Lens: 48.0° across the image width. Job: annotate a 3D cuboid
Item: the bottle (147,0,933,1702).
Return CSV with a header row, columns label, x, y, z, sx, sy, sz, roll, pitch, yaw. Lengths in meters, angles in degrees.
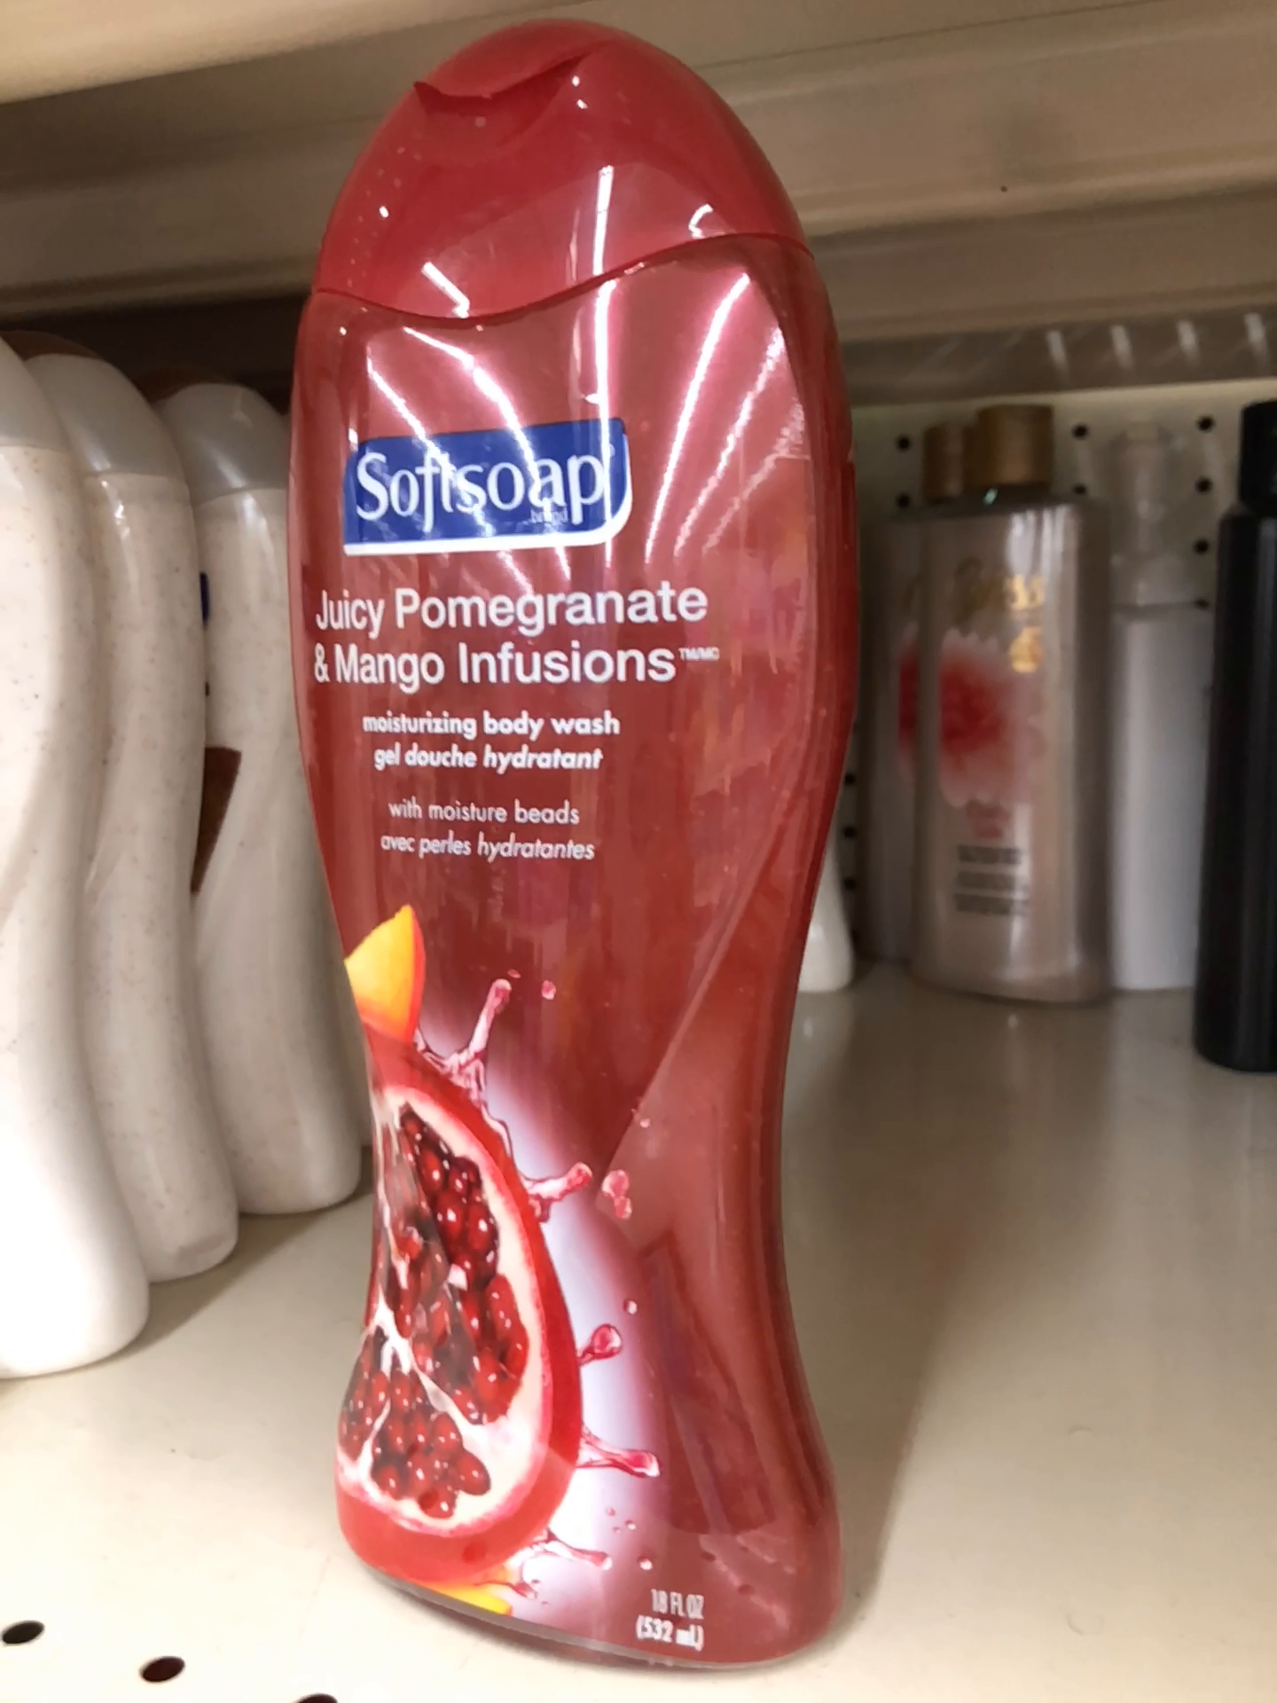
label,x,y,z,sx,sy,sz,roll,pitch,yaw
bottle,-0.010,0.002,0.217,0.090,0.230,0.060,4,11,30
